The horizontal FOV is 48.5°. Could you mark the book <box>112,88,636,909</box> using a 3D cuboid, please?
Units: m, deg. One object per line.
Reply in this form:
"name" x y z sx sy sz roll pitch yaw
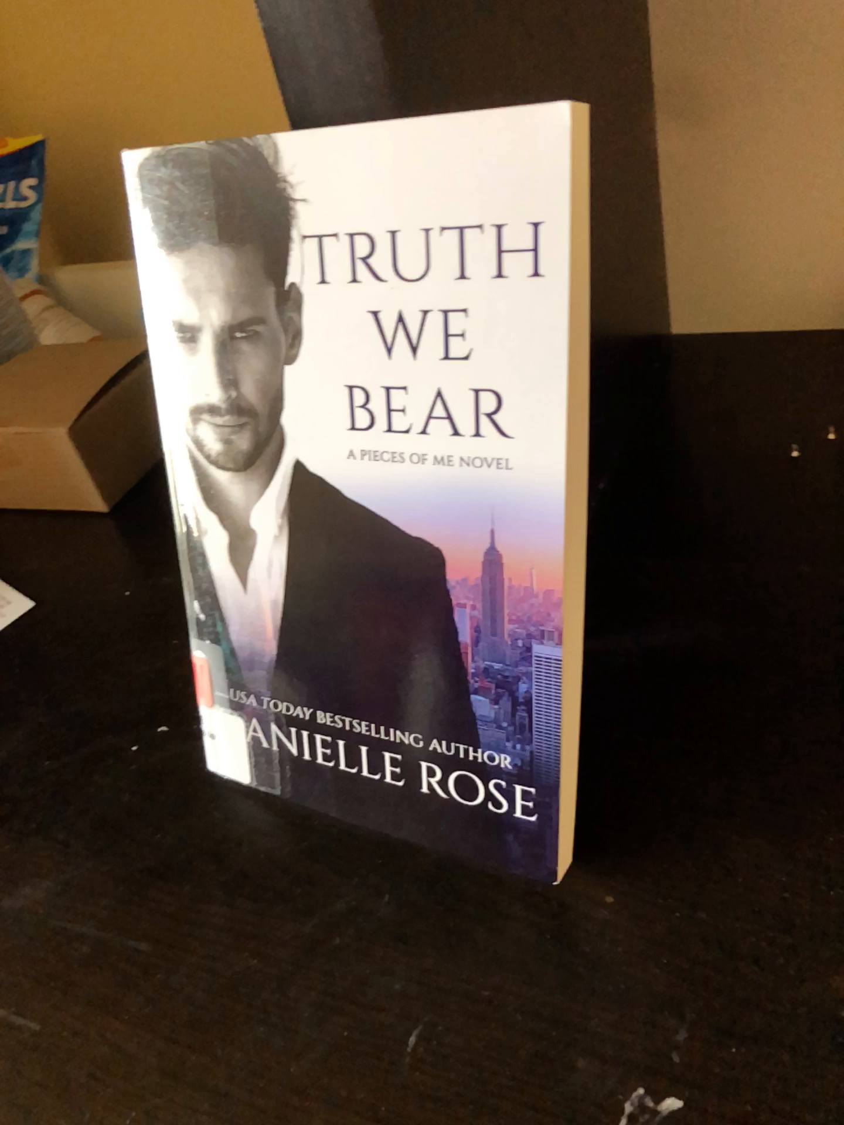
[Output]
"book" -0.015 -0.013 0.285 0.150 0.220 0.020 8 22 27
